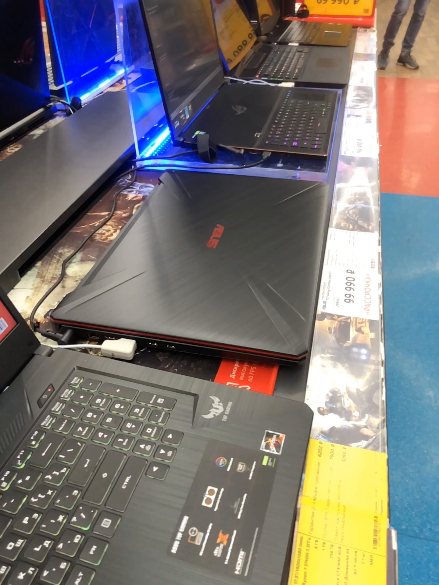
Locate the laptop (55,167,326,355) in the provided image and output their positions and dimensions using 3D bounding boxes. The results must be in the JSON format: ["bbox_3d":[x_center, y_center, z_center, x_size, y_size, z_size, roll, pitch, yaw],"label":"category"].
[{"bbox_3d":[-0.004,-0.075,0.636,0.252,0.002,0.390,8,40,12],"label":"laptop"}]
